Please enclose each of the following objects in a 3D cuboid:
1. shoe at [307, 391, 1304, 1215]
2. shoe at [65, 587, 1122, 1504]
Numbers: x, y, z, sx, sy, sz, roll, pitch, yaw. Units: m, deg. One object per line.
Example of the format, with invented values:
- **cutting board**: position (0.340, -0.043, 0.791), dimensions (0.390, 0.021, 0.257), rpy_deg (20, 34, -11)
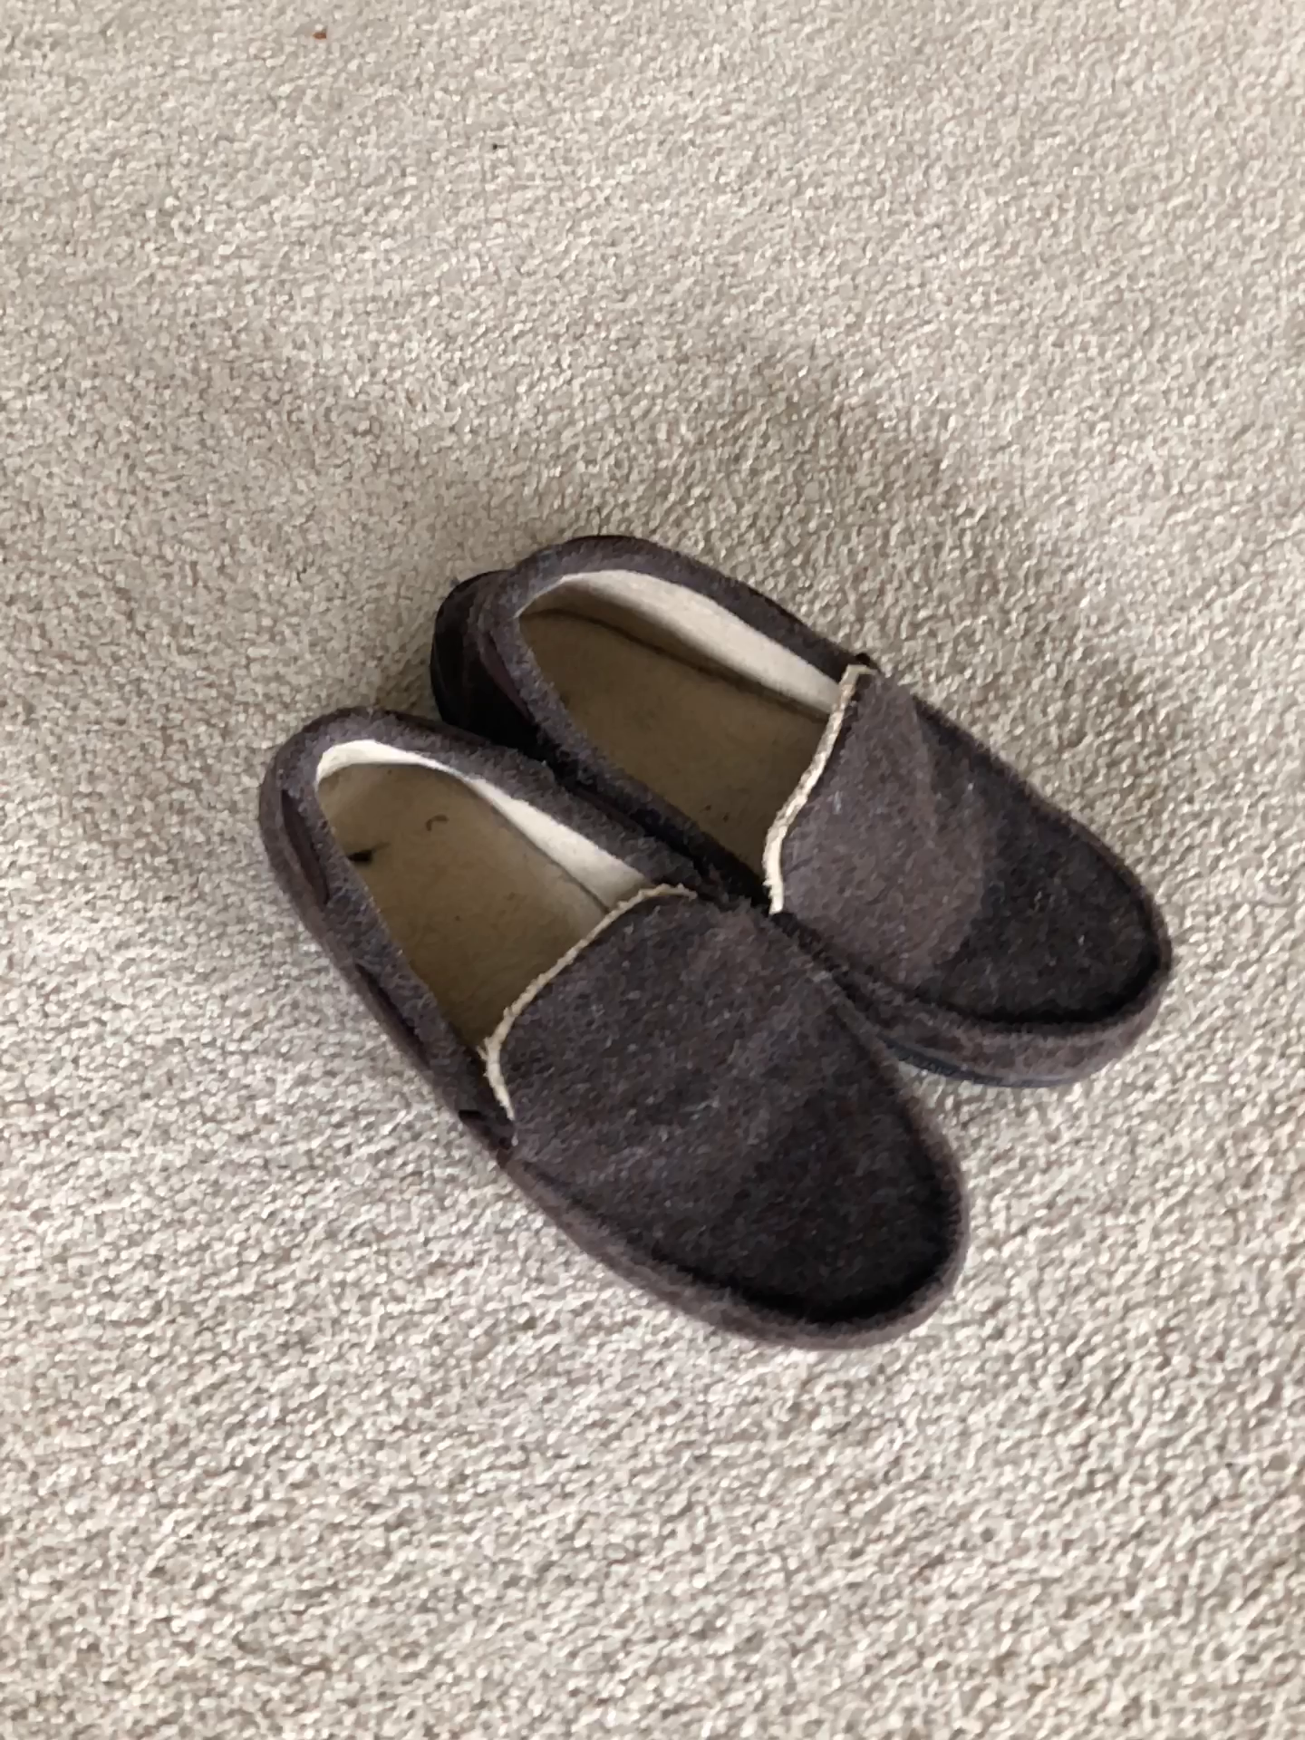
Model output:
- **shoe**: position (0.047, -0.021, 0.514), dimensions (0.316, 0.096, 0.119), rpy_deg (33, 72, 6)
- **shoe**: position (-0.023, 0.057, 0.485), dimensions (0.317, 0.096, 0.120), rpy_deg (36, 72, 7)
